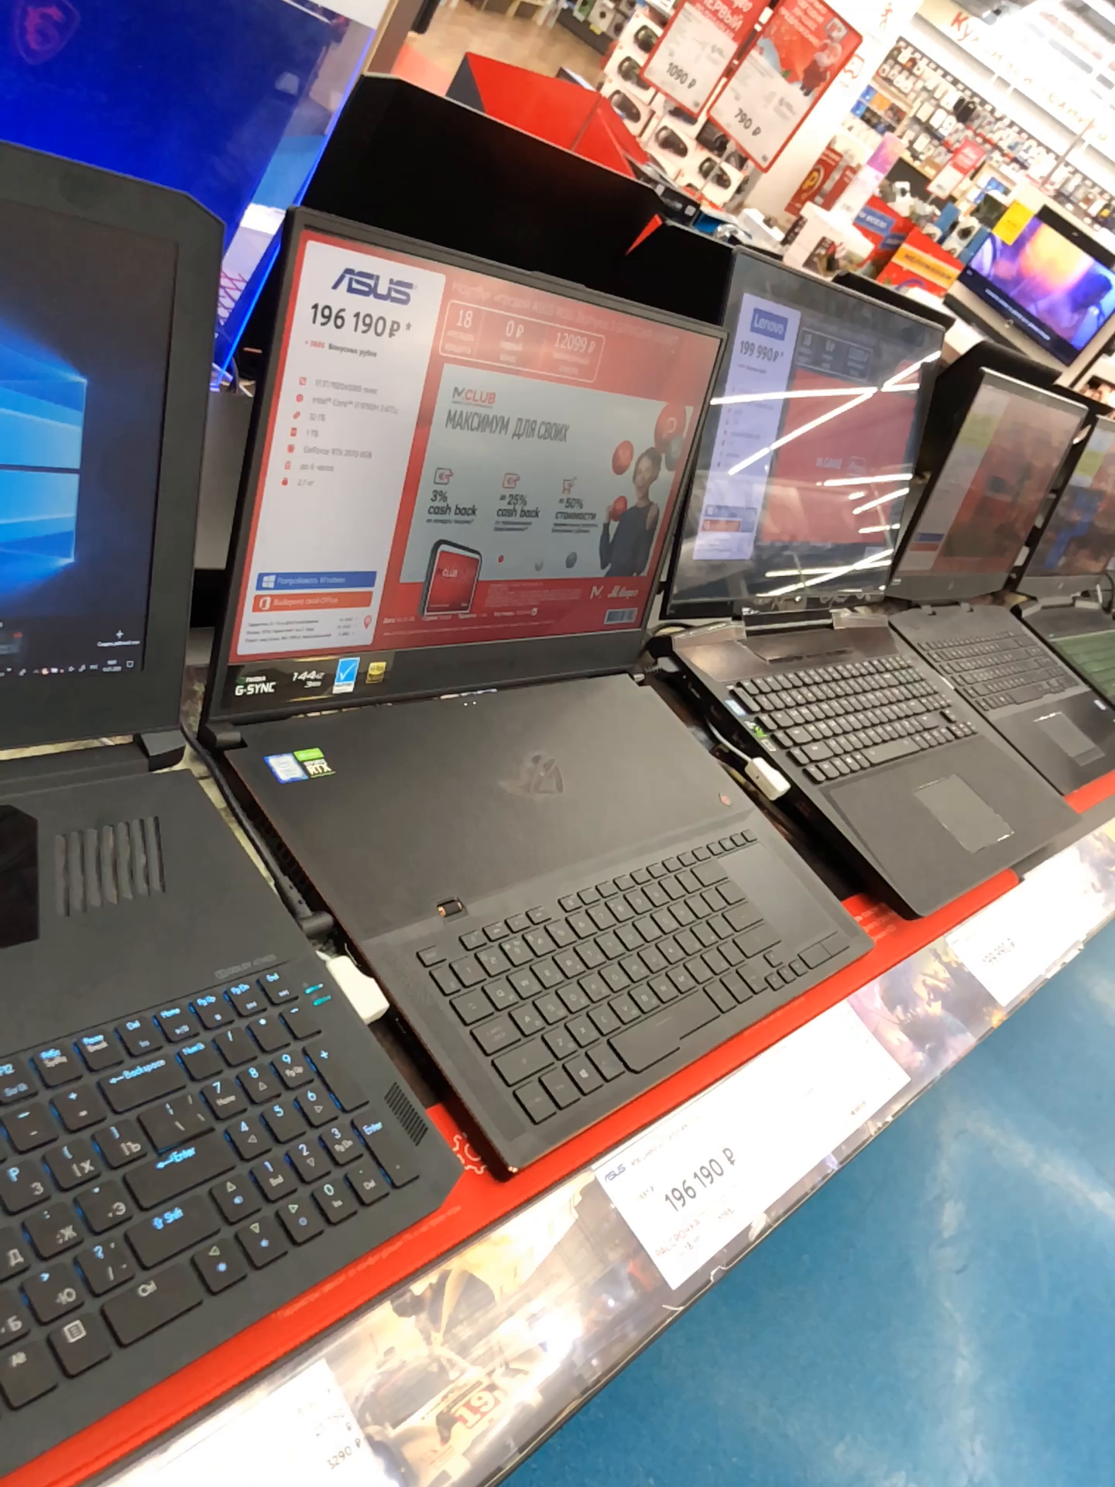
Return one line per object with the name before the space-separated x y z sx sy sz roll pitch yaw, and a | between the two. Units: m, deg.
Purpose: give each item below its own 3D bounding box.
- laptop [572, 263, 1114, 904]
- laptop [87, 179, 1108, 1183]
laptop | 0.321 -0.144 1.043 0.376 0.248 0.412 -11 56 -50
laptop | 0.038 -0.054 0.693 0.377 0.240 0.392 49 32 19
